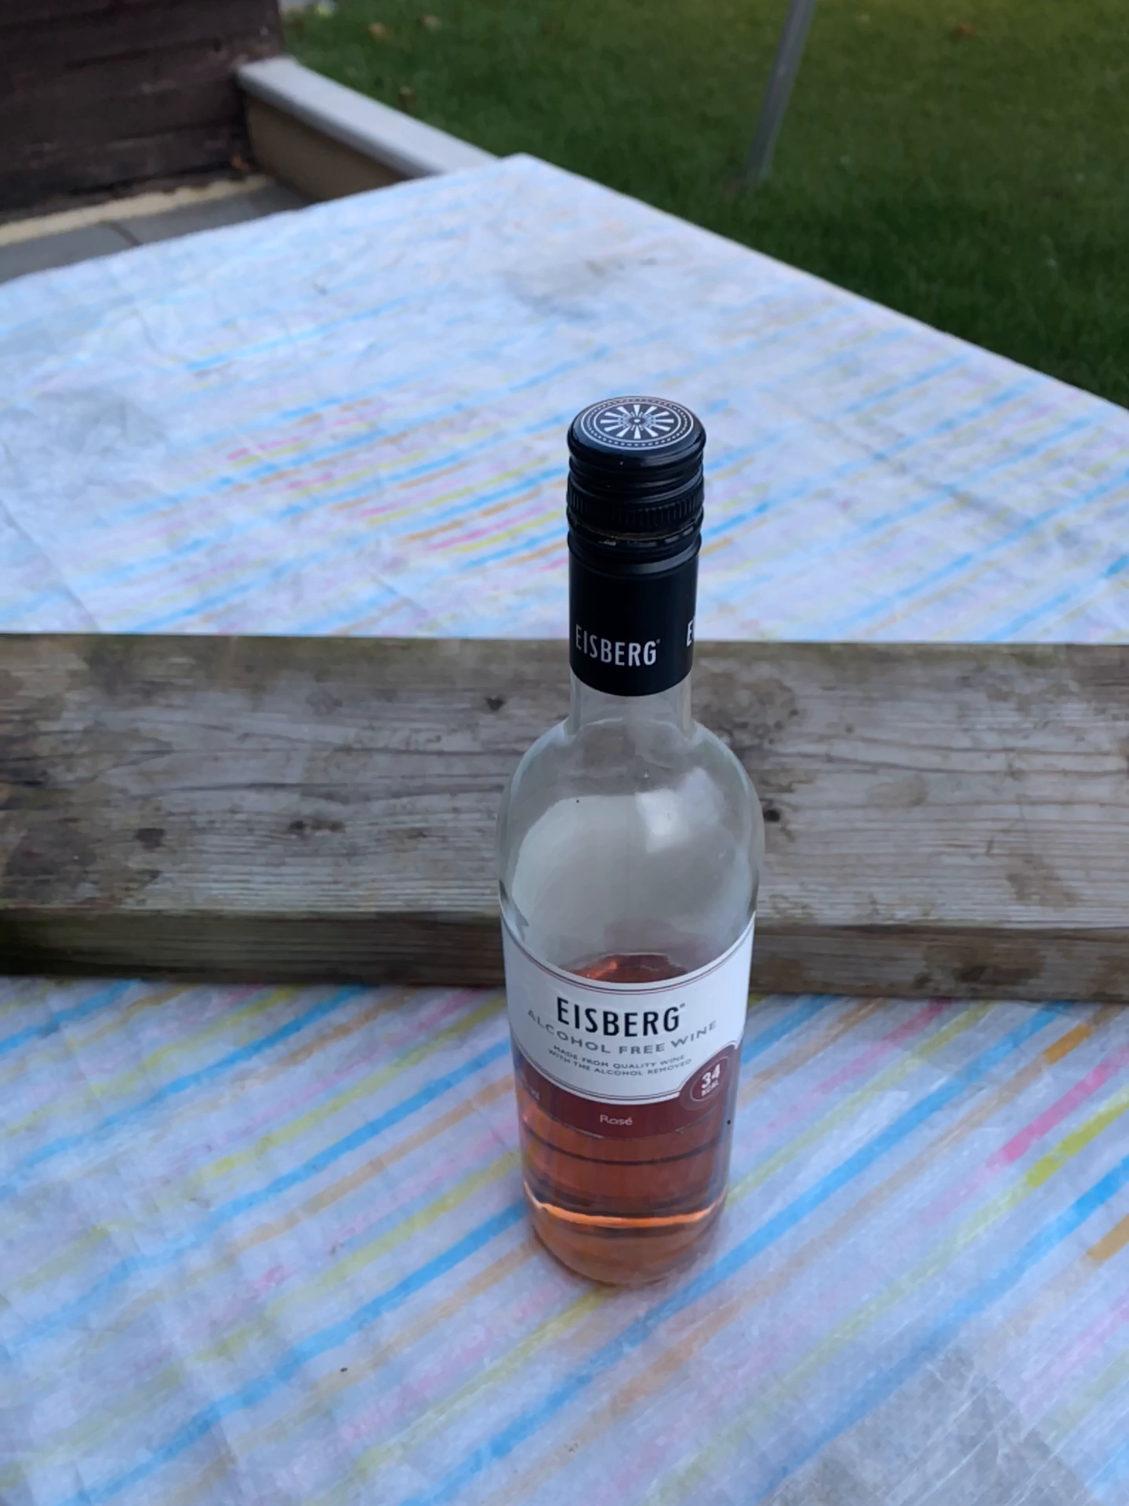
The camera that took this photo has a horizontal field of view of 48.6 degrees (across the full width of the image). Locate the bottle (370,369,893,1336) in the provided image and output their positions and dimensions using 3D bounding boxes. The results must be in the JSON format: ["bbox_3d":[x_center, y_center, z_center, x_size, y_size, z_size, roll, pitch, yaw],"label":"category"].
[{"bbox_3d":[0.016,0.051,0.340,0.090,0.287,0.081,1,41,3],"label":"bottle"}]
